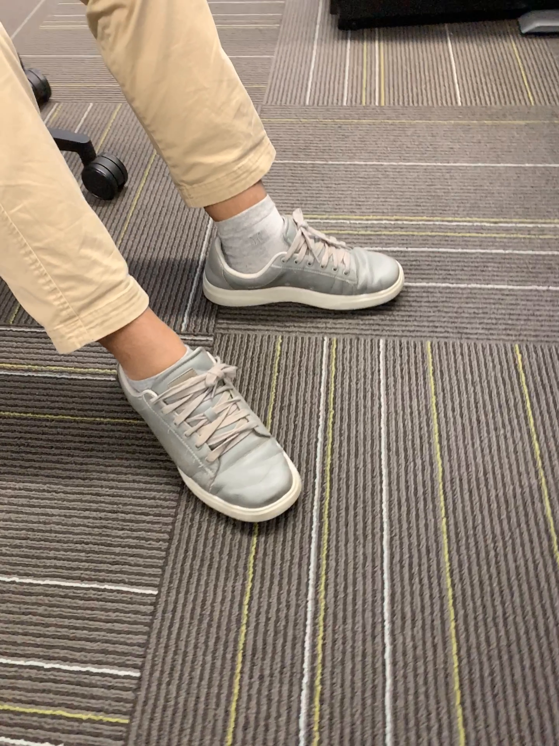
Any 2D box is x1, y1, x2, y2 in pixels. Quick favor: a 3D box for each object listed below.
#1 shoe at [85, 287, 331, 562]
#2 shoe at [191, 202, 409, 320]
[{"bbox_3d":[-0.081,0.051,0.651,0.120,0.139,0.271,-36,58,-22],"label":"shoe"},{"bbox_3d":[0.030,-0.158,0.811,0.280,0.110,0.121,1,53,4],"label":"shoe"}]
